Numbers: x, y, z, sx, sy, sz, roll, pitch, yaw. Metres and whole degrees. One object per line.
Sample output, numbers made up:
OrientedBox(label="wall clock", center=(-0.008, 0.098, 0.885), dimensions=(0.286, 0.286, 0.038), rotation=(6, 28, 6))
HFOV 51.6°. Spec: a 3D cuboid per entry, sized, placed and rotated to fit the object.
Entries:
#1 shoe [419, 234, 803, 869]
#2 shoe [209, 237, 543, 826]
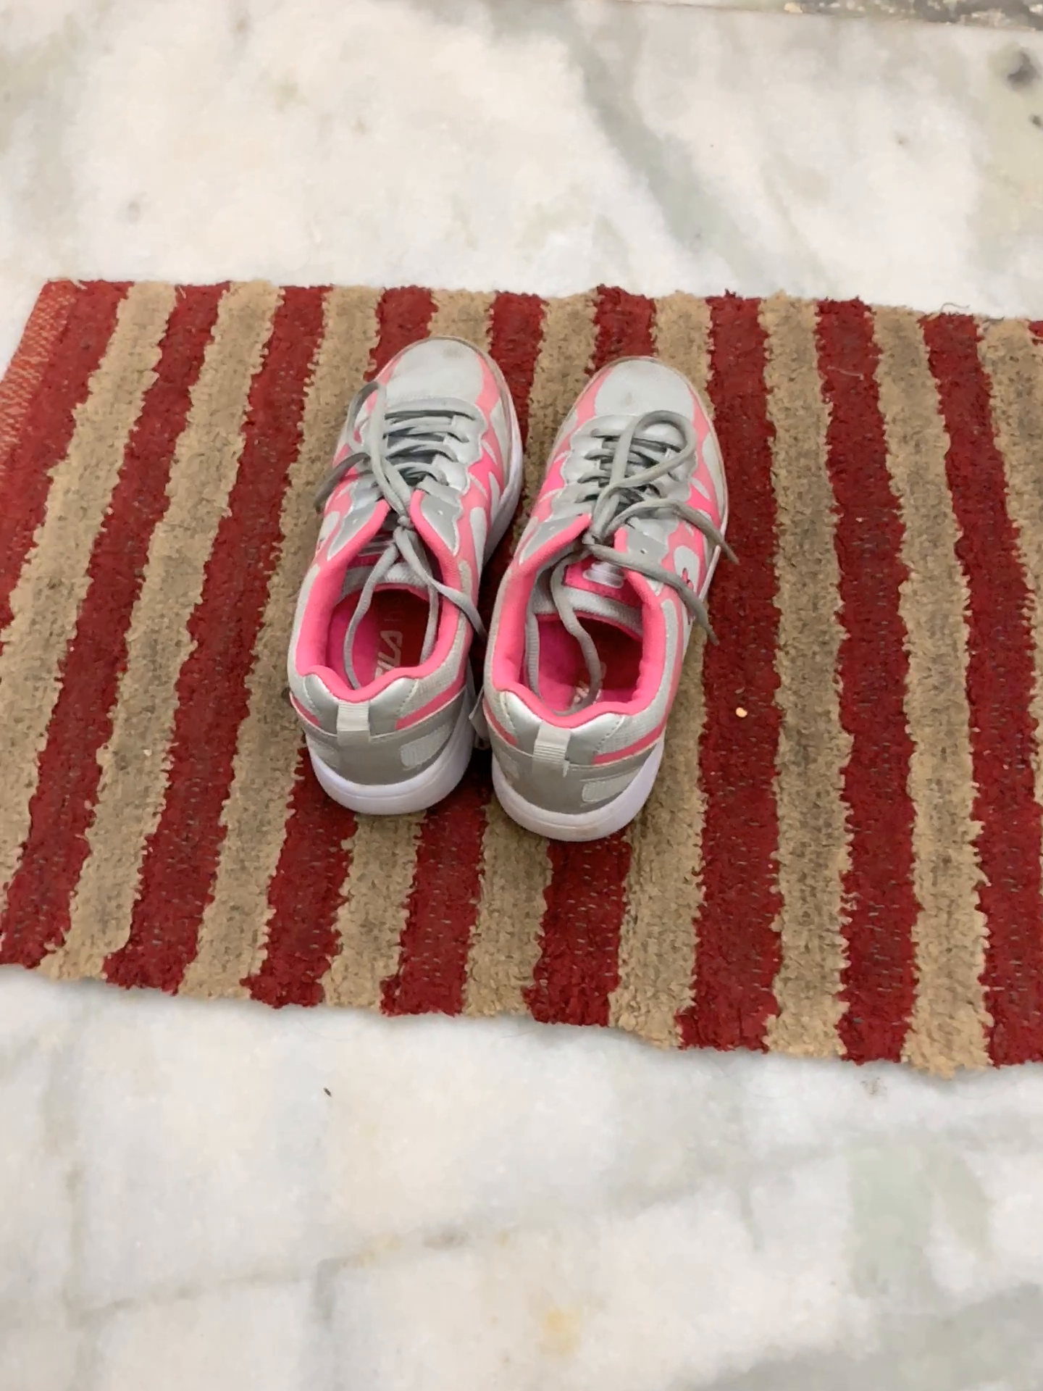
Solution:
OrientedBox(label="shoe", center=(0.043, -0.062, 0.448), dimensions=(0.100, 0.100, 0.231), rotation=(11, 67, 8))
OrientedBox(label="shoe", center=(-0.050, -0.073, 0.470), dimensions=(0.090, 0.100, 0.231), rotation=(5, 66, 5))
